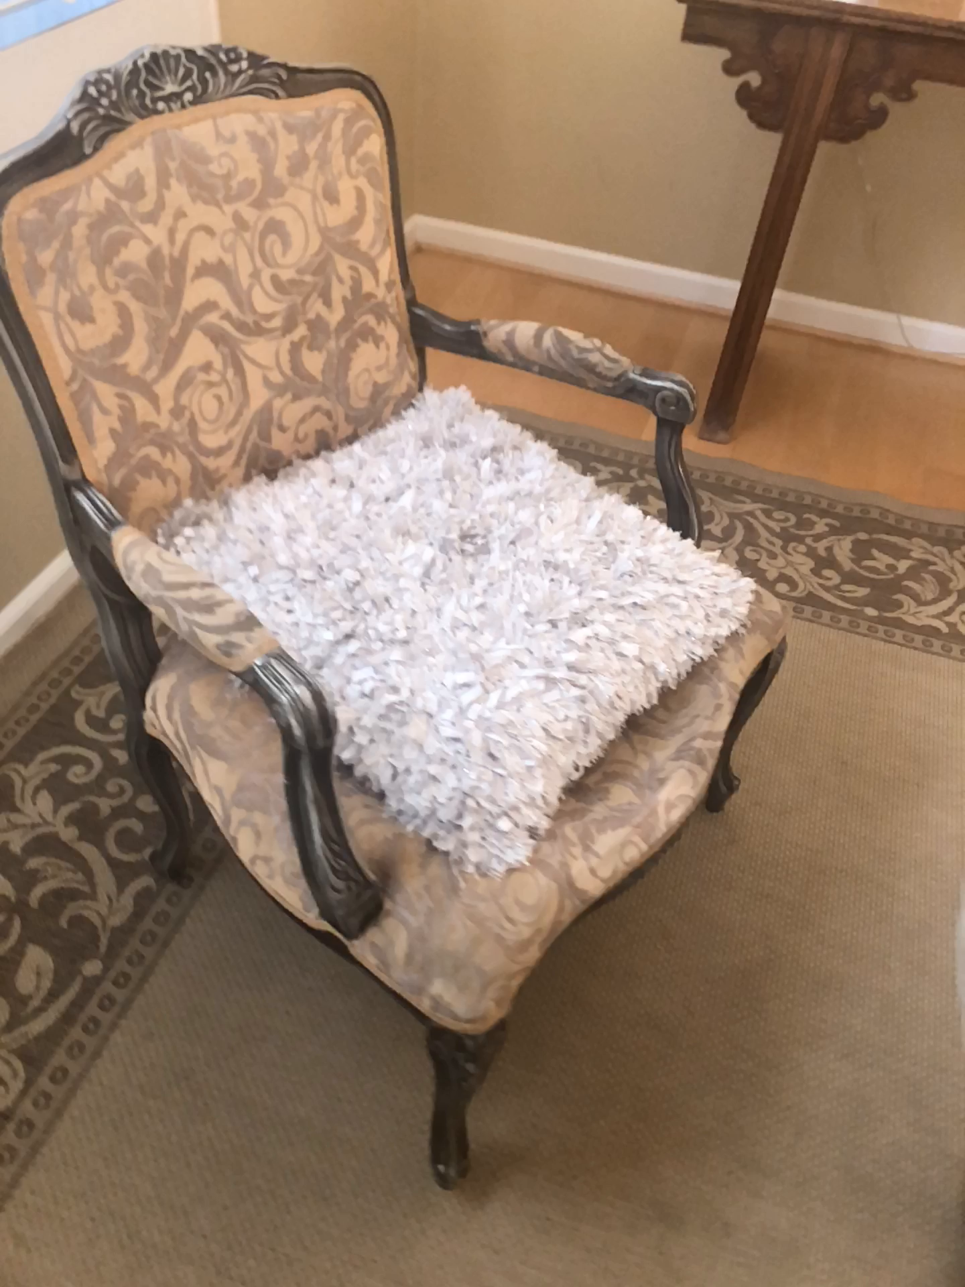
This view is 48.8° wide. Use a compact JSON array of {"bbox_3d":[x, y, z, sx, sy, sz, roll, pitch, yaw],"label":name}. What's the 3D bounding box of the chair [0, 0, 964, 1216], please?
[{"bbox_3d":[-0.041,-0.091,1.165,0.651,0.971,0.766,28,48,23],"label":"chair"}]
